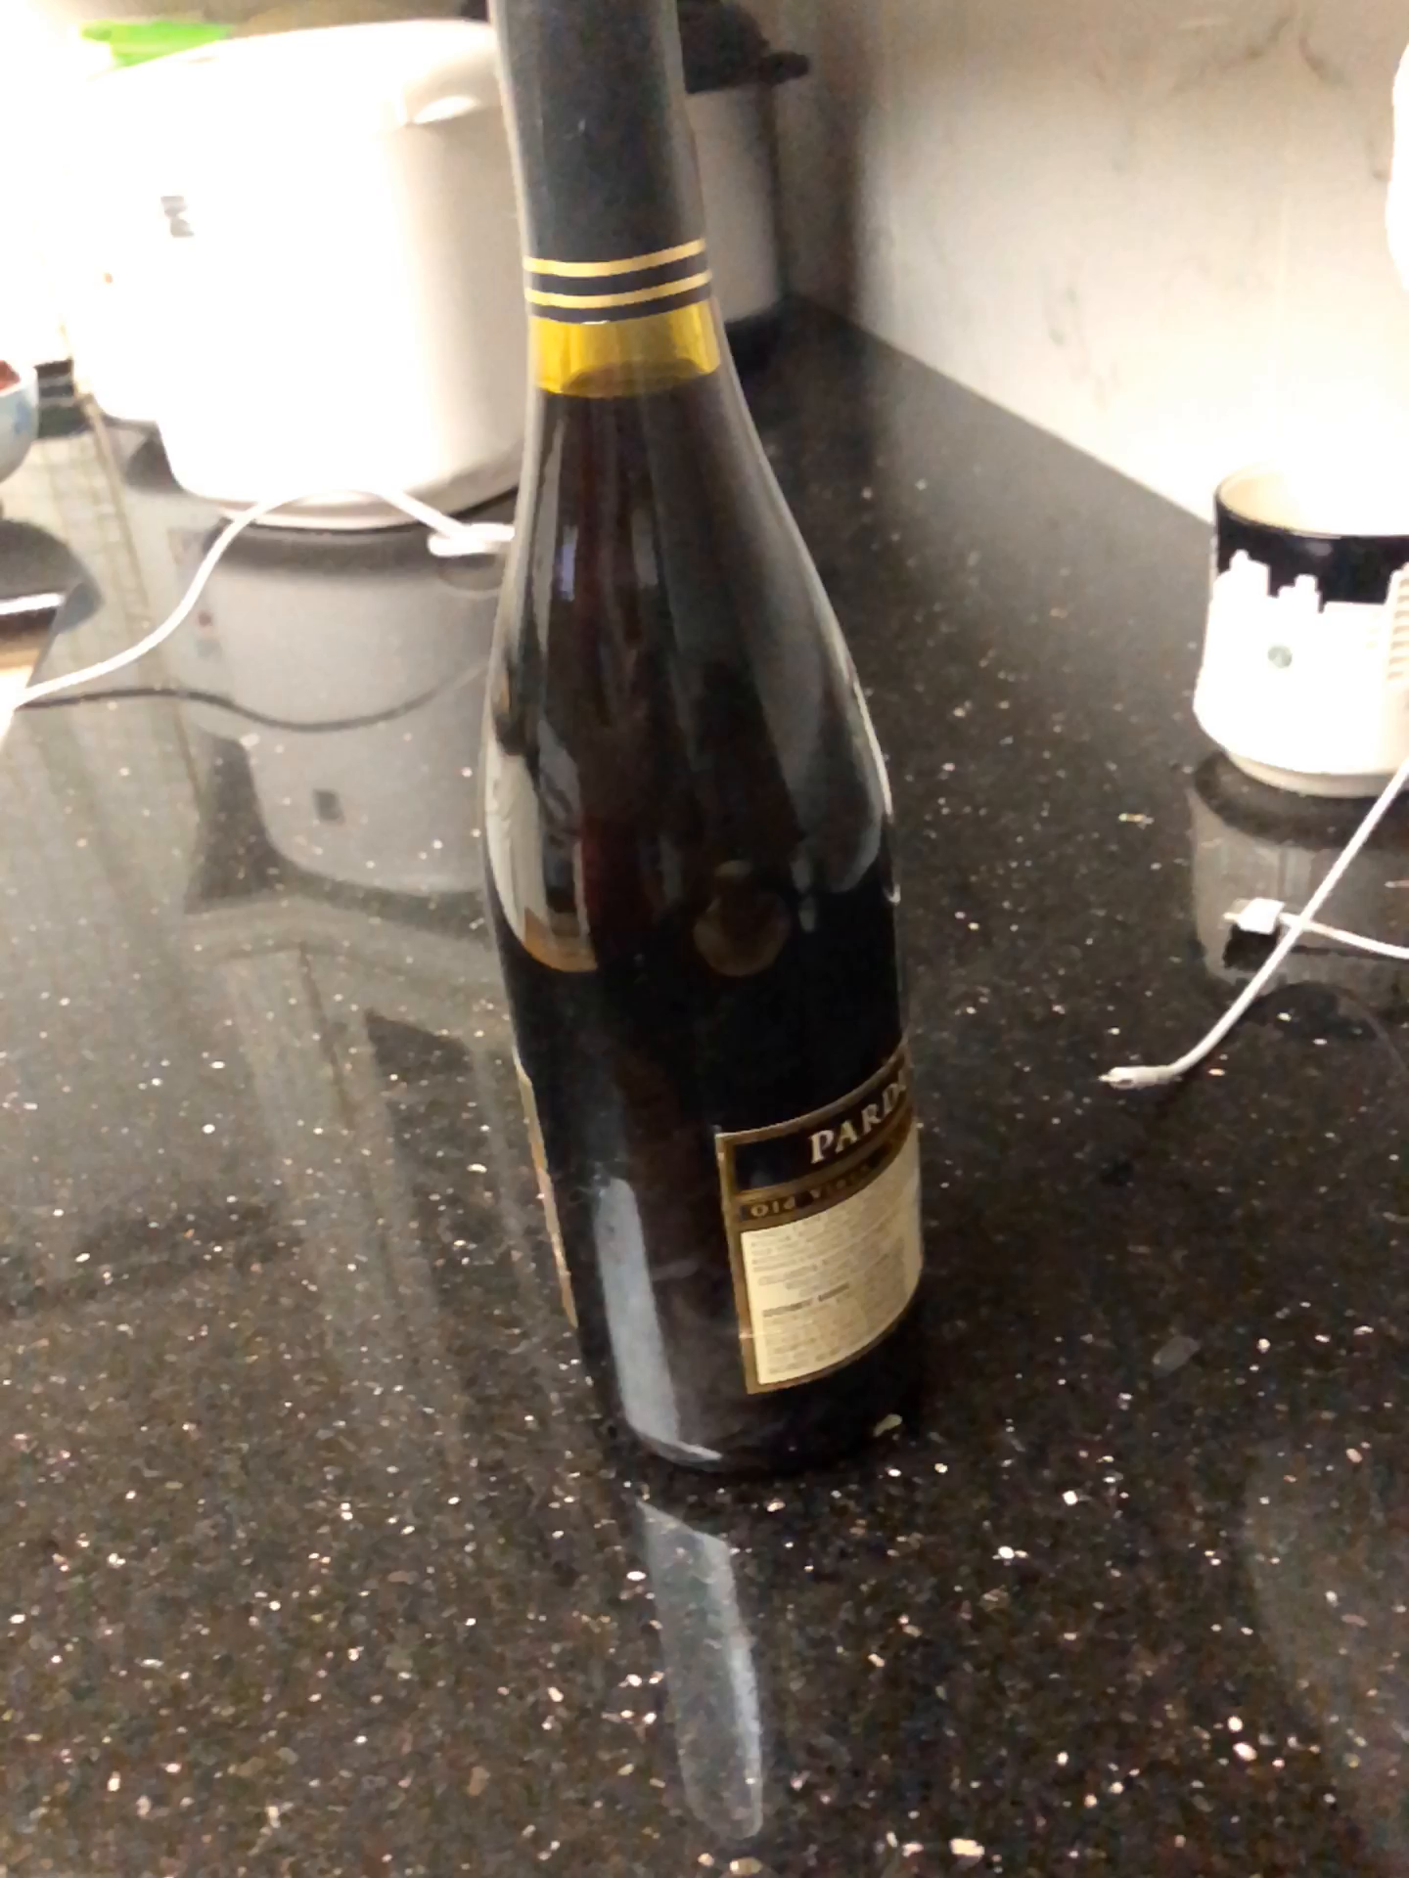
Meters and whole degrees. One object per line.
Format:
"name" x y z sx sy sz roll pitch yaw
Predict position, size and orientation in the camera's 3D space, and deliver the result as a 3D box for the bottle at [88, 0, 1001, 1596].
"bottle" -0.005 -0.026 0.294 0.090 0.298 0.090 -5 31 3
